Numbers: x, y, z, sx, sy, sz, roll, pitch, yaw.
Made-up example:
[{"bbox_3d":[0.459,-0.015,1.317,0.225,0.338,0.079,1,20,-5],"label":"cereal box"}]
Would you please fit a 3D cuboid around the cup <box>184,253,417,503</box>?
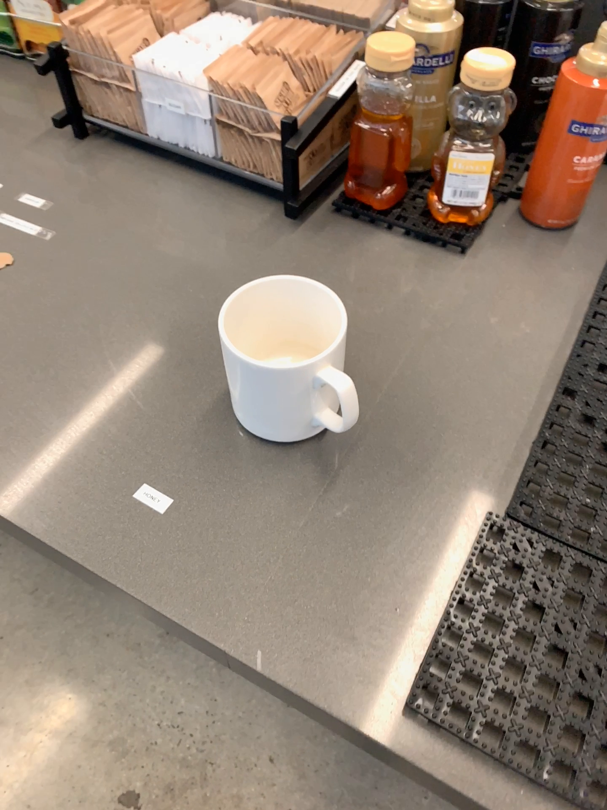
[{"bbox_3d":[-0.004,-0.021,0.433,0.090,0.090,0.120,-36,60,-25],"label":"cup"}]
